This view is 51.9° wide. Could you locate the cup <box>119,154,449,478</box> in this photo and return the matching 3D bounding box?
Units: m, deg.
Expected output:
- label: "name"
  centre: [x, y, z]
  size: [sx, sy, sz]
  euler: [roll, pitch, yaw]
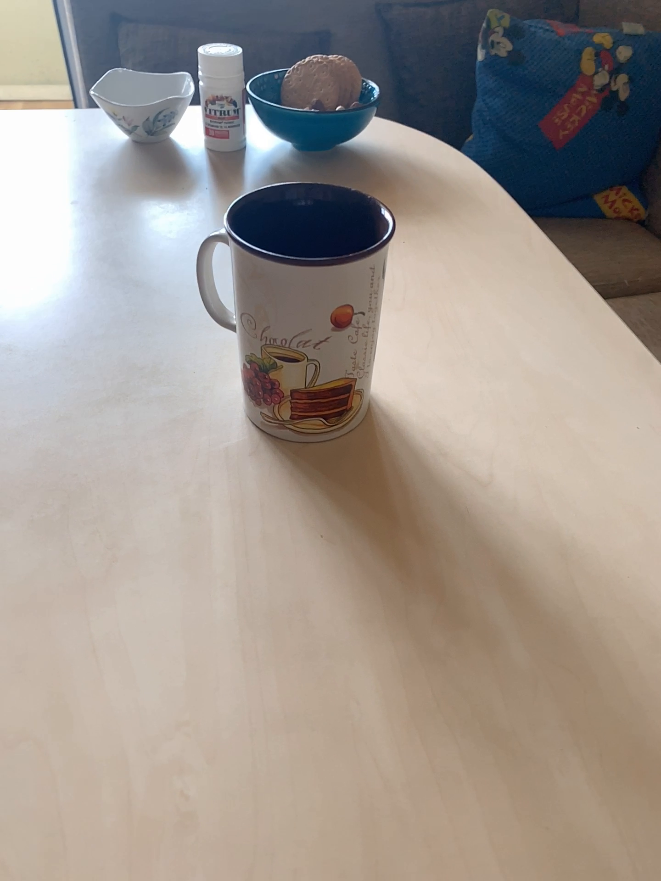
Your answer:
- label: "cup"
  centre: [-0.022, -0.070, 0.363]
  size: [0.130, 0.110, 0.090]
  euler: [21, 46, 18]
